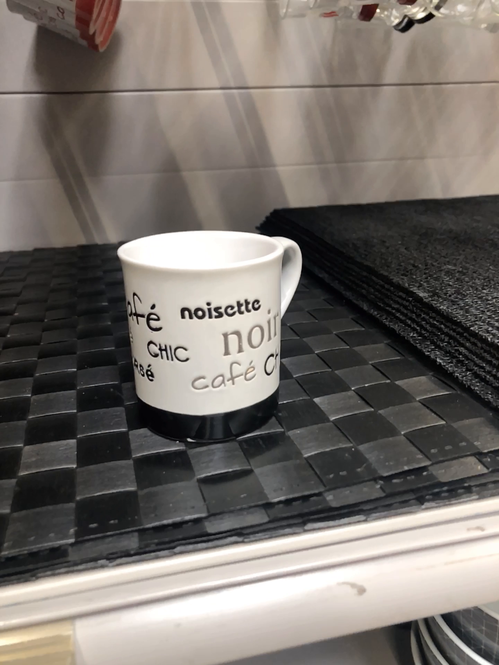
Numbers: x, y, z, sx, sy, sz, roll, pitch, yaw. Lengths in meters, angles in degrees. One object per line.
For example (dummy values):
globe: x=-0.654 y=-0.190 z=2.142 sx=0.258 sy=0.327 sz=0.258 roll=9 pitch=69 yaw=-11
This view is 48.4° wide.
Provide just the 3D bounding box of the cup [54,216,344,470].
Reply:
cup: x=-0.016 y=-0.005 z=0.230 sx=0.067 sy=0.066 sz=0.093 roll=17 pitch=28 yaw=40
